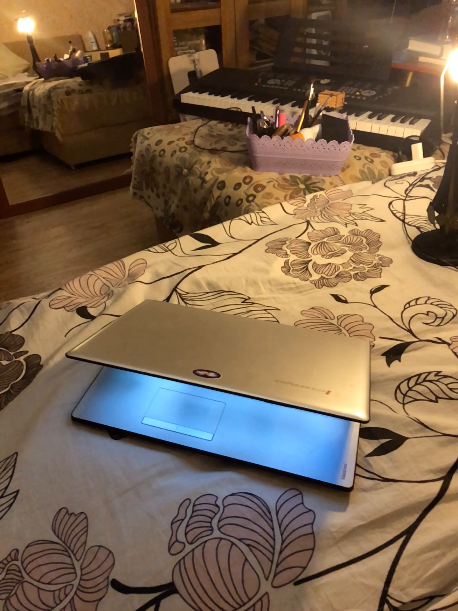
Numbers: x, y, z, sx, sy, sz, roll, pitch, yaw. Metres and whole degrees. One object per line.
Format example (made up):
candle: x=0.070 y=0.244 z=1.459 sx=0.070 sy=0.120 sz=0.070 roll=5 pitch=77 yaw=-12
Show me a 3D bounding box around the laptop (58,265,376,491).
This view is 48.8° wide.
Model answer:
laptop: x=0.000 y=0.073 z=0.709 sx=0.380 sy=0.082 sz=0.258 roll=9 pitch=39 yaw=15
